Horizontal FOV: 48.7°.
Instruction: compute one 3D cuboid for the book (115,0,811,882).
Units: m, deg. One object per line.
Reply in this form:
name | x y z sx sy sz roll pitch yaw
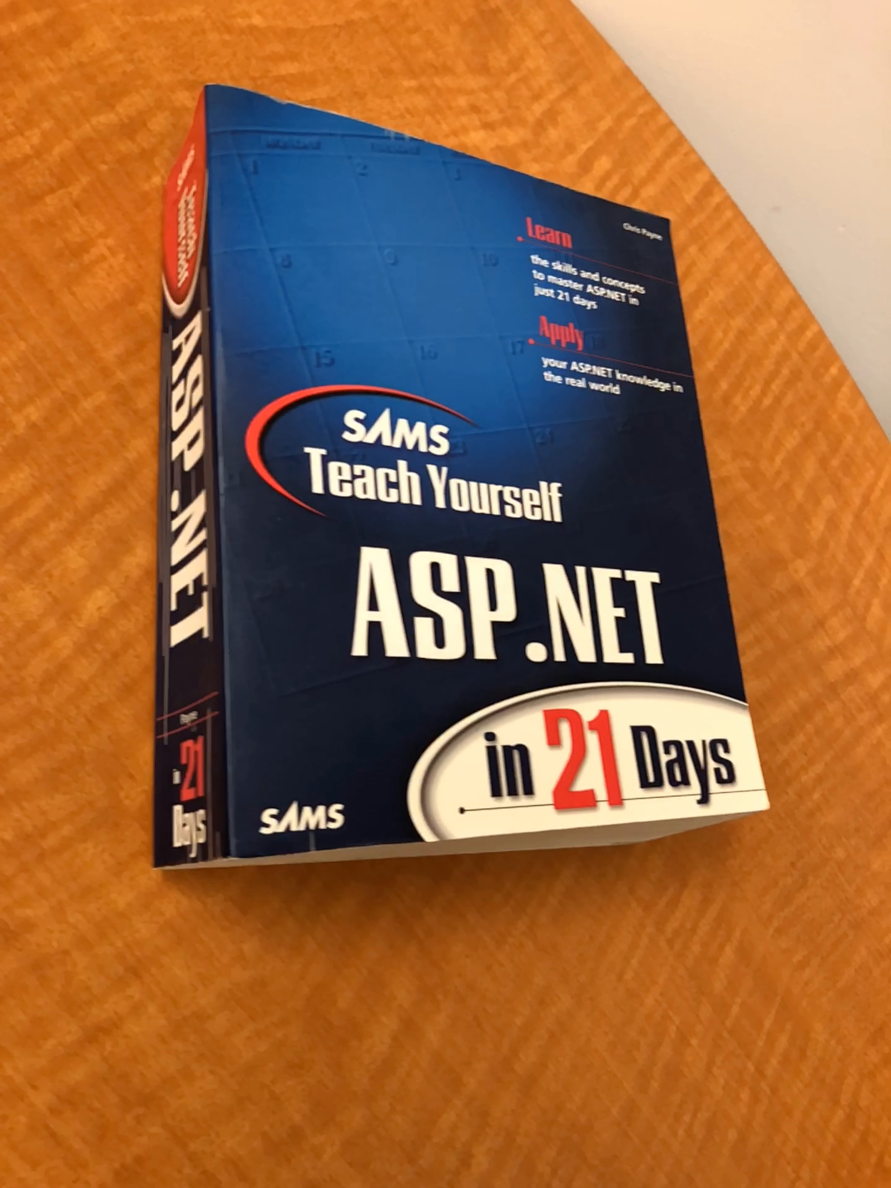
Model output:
book | 0.007 -0.036 0.325 0.201 0.070 0.240 7 71 -30
